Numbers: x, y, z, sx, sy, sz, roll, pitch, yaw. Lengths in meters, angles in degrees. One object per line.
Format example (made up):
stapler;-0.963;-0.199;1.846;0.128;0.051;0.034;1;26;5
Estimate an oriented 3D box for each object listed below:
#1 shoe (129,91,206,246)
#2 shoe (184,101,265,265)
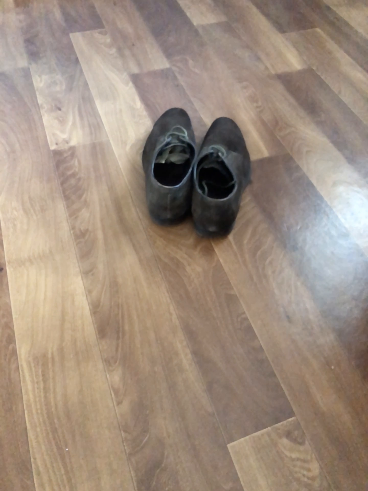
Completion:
shoe;-0.026;-0.155;0.769;0.120;0.099;0.312;2;53;-1
shoe;0.074;-0.126;0.748;0.120;0.099;0.312;5;53;1
